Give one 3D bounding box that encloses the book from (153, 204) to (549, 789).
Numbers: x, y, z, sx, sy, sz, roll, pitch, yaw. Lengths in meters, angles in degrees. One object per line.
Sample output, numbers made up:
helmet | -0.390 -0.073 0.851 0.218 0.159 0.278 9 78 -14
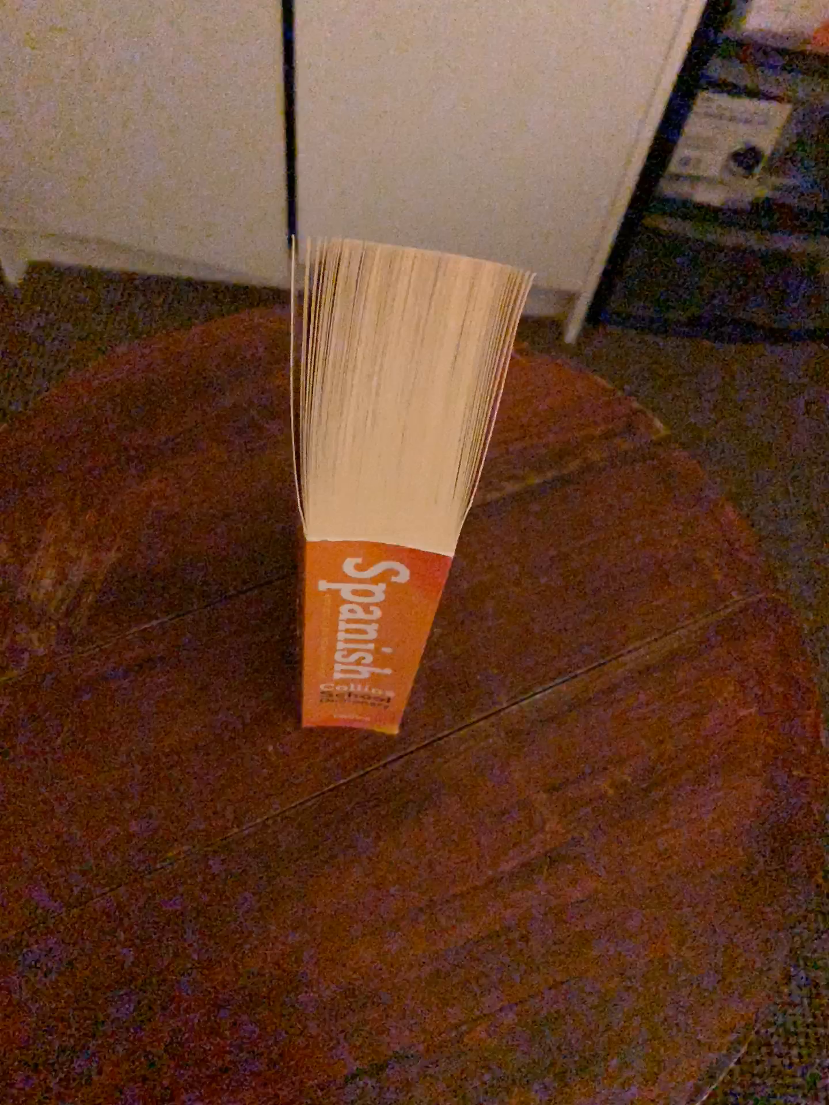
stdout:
book | -0.006 -0.010 0.303 0.080 0.149 0.141 8 63 9
